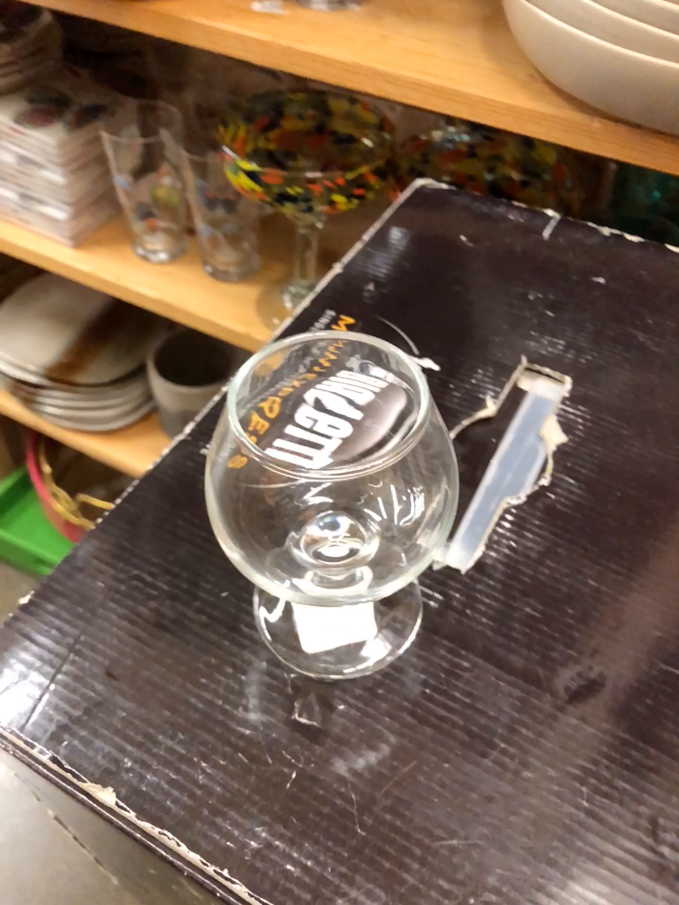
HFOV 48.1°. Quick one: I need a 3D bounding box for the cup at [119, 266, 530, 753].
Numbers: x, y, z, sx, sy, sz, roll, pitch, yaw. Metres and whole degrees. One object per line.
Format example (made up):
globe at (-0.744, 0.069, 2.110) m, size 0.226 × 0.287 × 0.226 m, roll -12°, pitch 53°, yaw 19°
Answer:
cup at (-0.003, 0.020, 0.223) m, size 0.069 × 0.106 × 0.071 m, roll 1°, pitch 50°, yaw -1°
